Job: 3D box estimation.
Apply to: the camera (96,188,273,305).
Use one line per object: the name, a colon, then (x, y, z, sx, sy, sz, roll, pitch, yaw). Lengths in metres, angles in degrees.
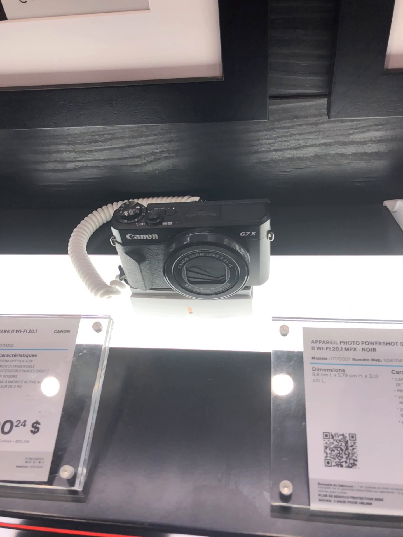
camera: (-0.007, -0.013, 0.312, 0.110, 0.079, 0.030, -1, 43, 6)
